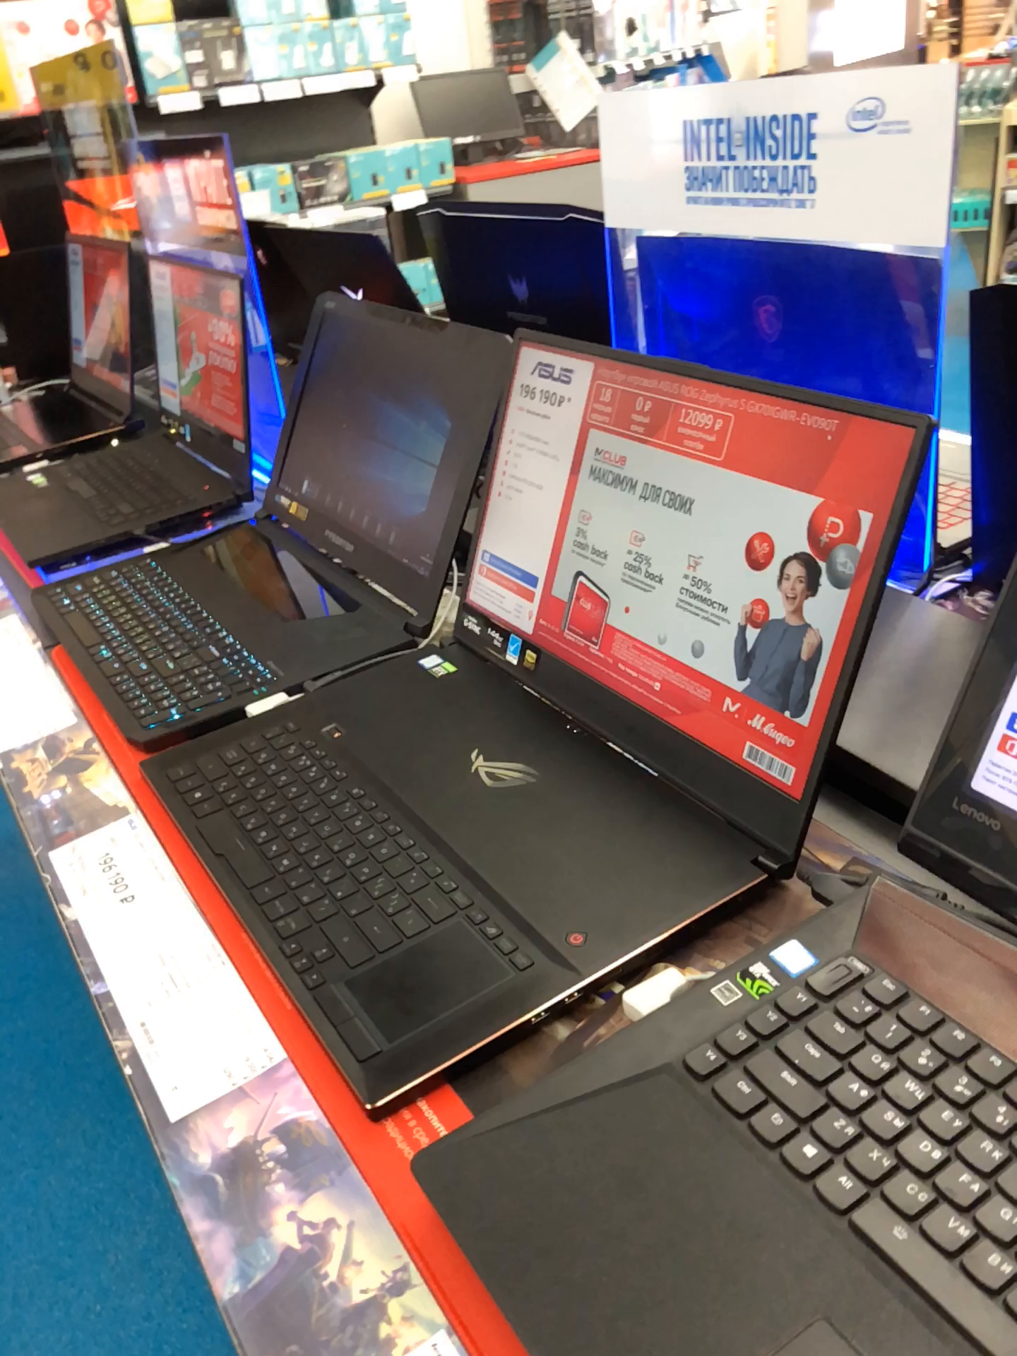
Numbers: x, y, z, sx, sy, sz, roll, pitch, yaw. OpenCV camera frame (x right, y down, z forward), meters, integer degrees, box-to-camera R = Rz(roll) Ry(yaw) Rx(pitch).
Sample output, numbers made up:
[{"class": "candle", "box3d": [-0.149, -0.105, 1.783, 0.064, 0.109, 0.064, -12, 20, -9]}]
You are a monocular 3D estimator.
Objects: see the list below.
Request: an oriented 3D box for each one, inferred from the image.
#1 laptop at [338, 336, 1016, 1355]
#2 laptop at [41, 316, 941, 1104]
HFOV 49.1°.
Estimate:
[{"class": "laptop", "box3d": [0.222, 0.087, 0.338, 0.411, 0.248, 0.376, -22, 30, -23]}, {"class": "laptop", "box3d": [-0.025, -0.041, 0.703, 0.377, 0.240, 0.393, -23, 33, -25]}]
